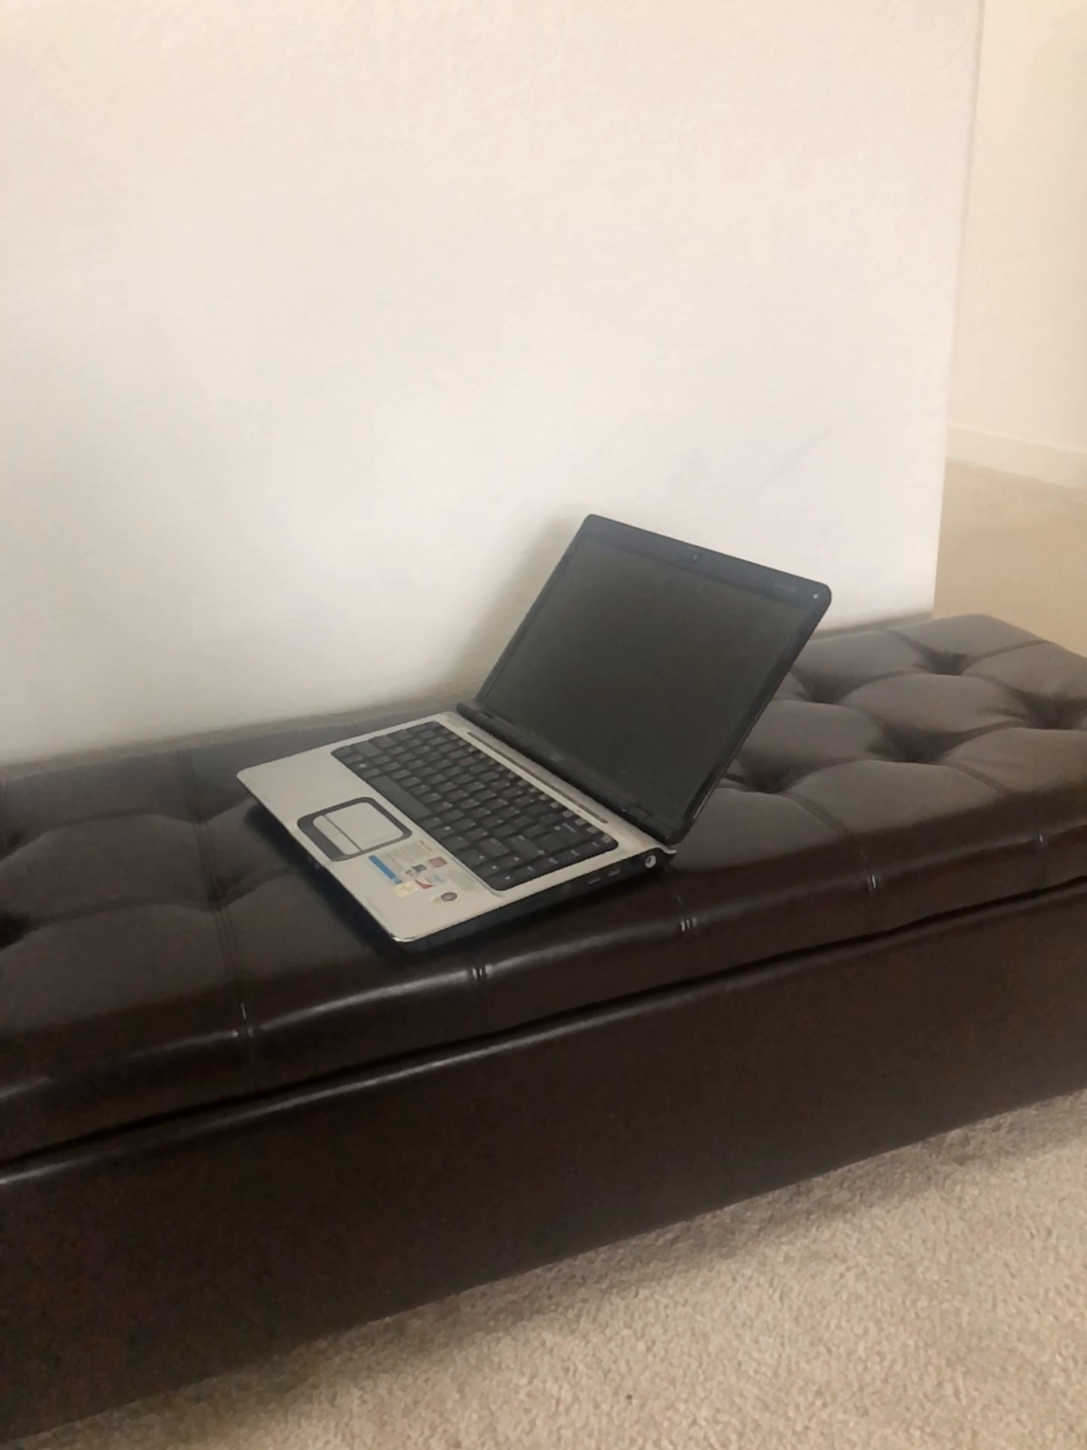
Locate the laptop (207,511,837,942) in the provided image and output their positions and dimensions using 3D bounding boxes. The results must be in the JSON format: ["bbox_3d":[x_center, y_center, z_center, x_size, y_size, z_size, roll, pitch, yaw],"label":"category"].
[{"bbox_3d":[-0.022,-0.034,0.964,0.381,0.161,0.327,-17,27,-29],"label":"laptop"}]
